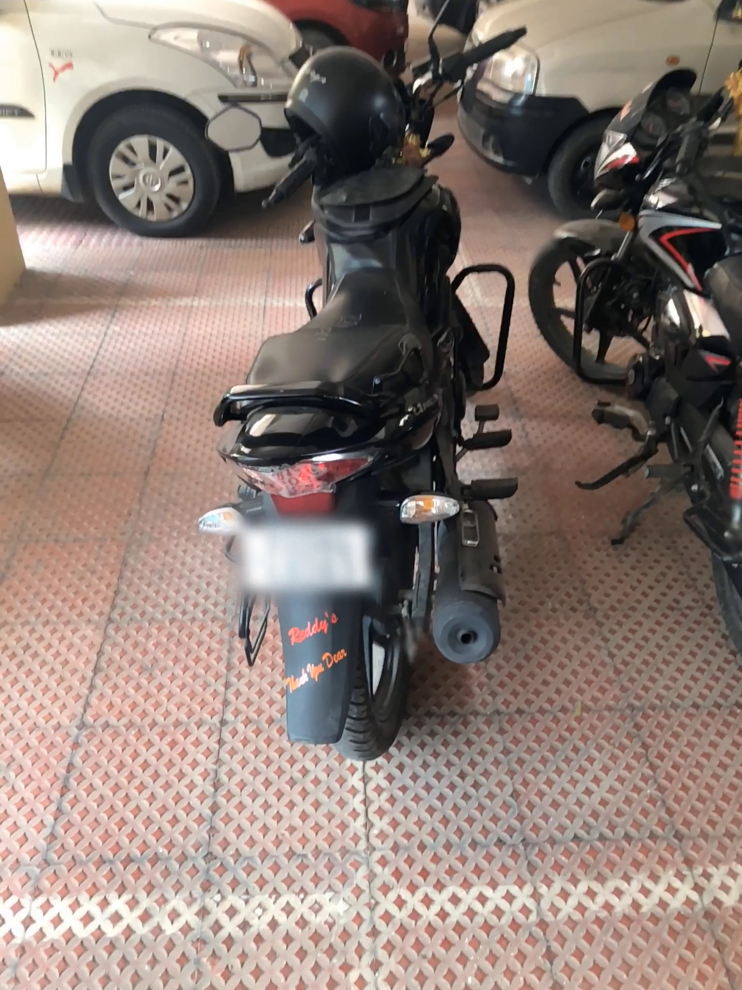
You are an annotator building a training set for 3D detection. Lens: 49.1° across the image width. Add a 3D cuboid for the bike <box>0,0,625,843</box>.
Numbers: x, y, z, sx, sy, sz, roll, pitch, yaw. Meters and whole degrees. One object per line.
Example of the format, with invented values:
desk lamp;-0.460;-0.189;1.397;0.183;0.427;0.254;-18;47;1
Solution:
bike;-0.132;-0.381;1.906;0.804;1.199;1.693;3;39;1
